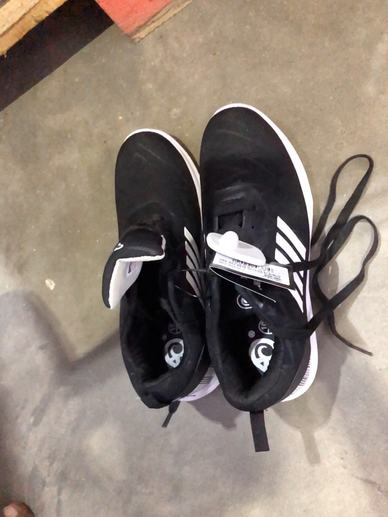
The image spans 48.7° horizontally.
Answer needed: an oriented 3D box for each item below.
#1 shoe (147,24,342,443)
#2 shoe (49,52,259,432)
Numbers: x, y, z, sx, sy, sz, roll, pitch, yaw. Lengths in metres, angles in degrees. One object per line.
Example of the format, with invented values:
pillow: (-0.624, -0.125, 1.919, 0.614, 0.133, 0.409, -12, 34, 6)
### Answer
shoe: (0.048, -0.016, 0.395, 0.110, 0.130, 0.320, -10, 78, 22)
shoe: (-0.042, -0.013, 0.447, 0.120, 0.130, 0.330, -16, 76, 21)
